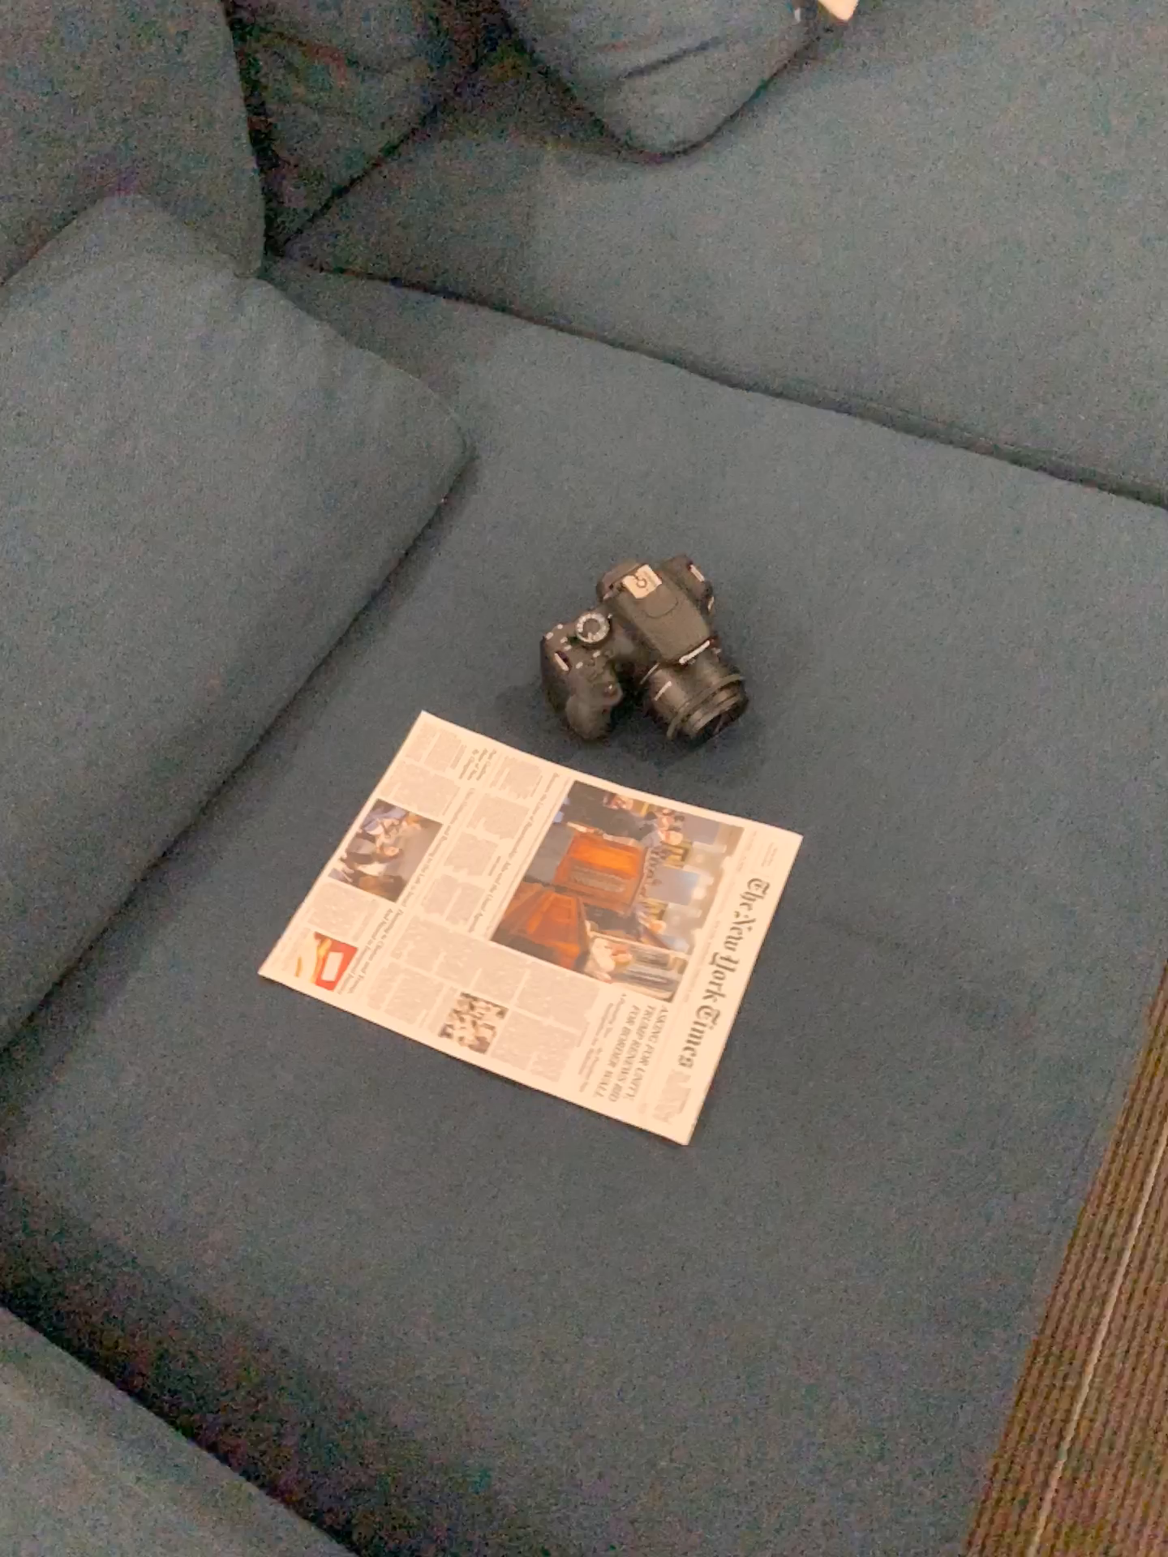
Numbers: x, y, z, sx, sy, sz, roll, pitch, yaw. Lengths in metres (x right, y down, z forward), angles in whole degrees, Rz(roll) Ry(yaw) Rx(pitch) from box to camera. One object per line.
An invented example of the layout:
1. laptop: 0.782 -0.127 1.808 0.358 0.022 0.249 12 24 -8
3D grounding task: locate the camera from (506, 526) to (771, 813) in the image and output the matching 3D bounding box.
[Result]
1. camera: 0.031 -0.068 0.770 0.120 0.100 0.109 -34 76 -13
